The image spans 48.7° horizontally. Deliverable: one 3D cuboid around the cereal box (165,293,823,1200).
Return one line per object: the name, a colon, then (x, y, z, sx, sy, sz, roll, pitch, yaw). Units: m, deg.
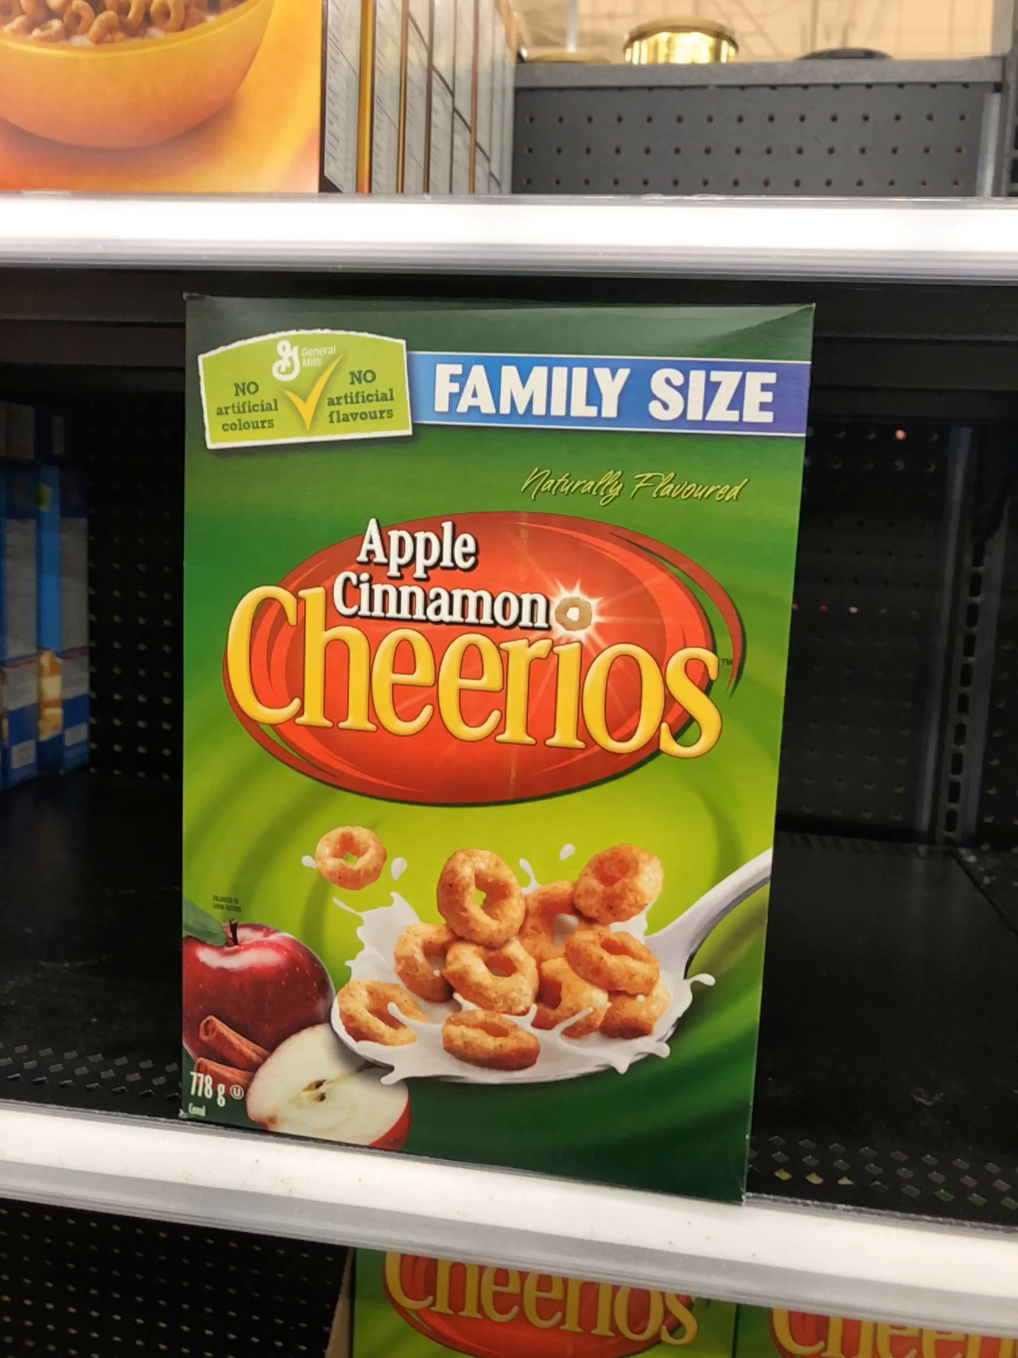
cereal box: (-0.011, 0.020, 0.464, 0.240, 0.329, 0.080, 4, 8, 10)
